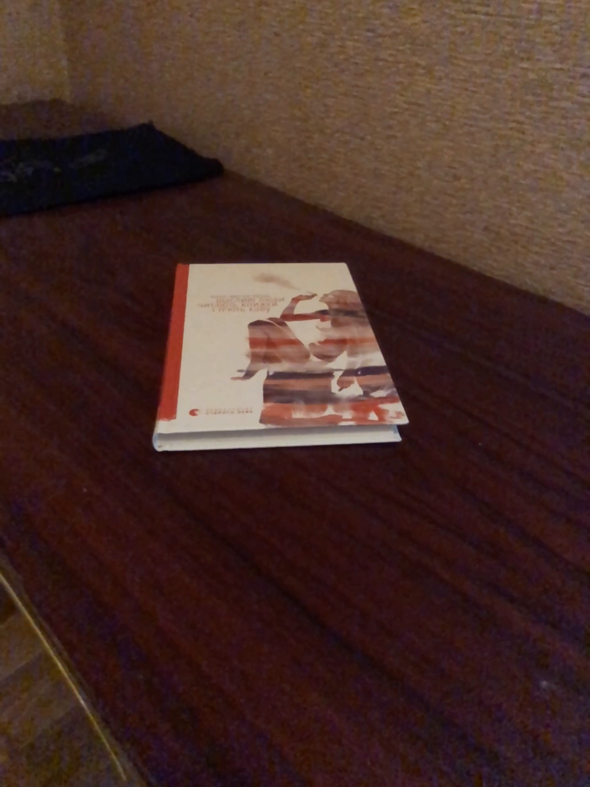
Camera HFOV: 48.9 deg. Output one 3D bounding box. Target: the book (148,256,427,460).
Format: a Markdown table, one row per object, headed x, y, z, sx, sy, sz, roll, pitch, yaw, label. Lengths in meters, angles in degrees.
| x | y | z | sx | sy | sz | roll | pitch | yaw | label |
| --- | --- | --- | --- | --- | --- | --- | --- | --- | --- |
| -0.015 | -0.039 | 0.446 | 0.150 | 0.020 | 0.229 | -1 | 35 | -6 | book |
